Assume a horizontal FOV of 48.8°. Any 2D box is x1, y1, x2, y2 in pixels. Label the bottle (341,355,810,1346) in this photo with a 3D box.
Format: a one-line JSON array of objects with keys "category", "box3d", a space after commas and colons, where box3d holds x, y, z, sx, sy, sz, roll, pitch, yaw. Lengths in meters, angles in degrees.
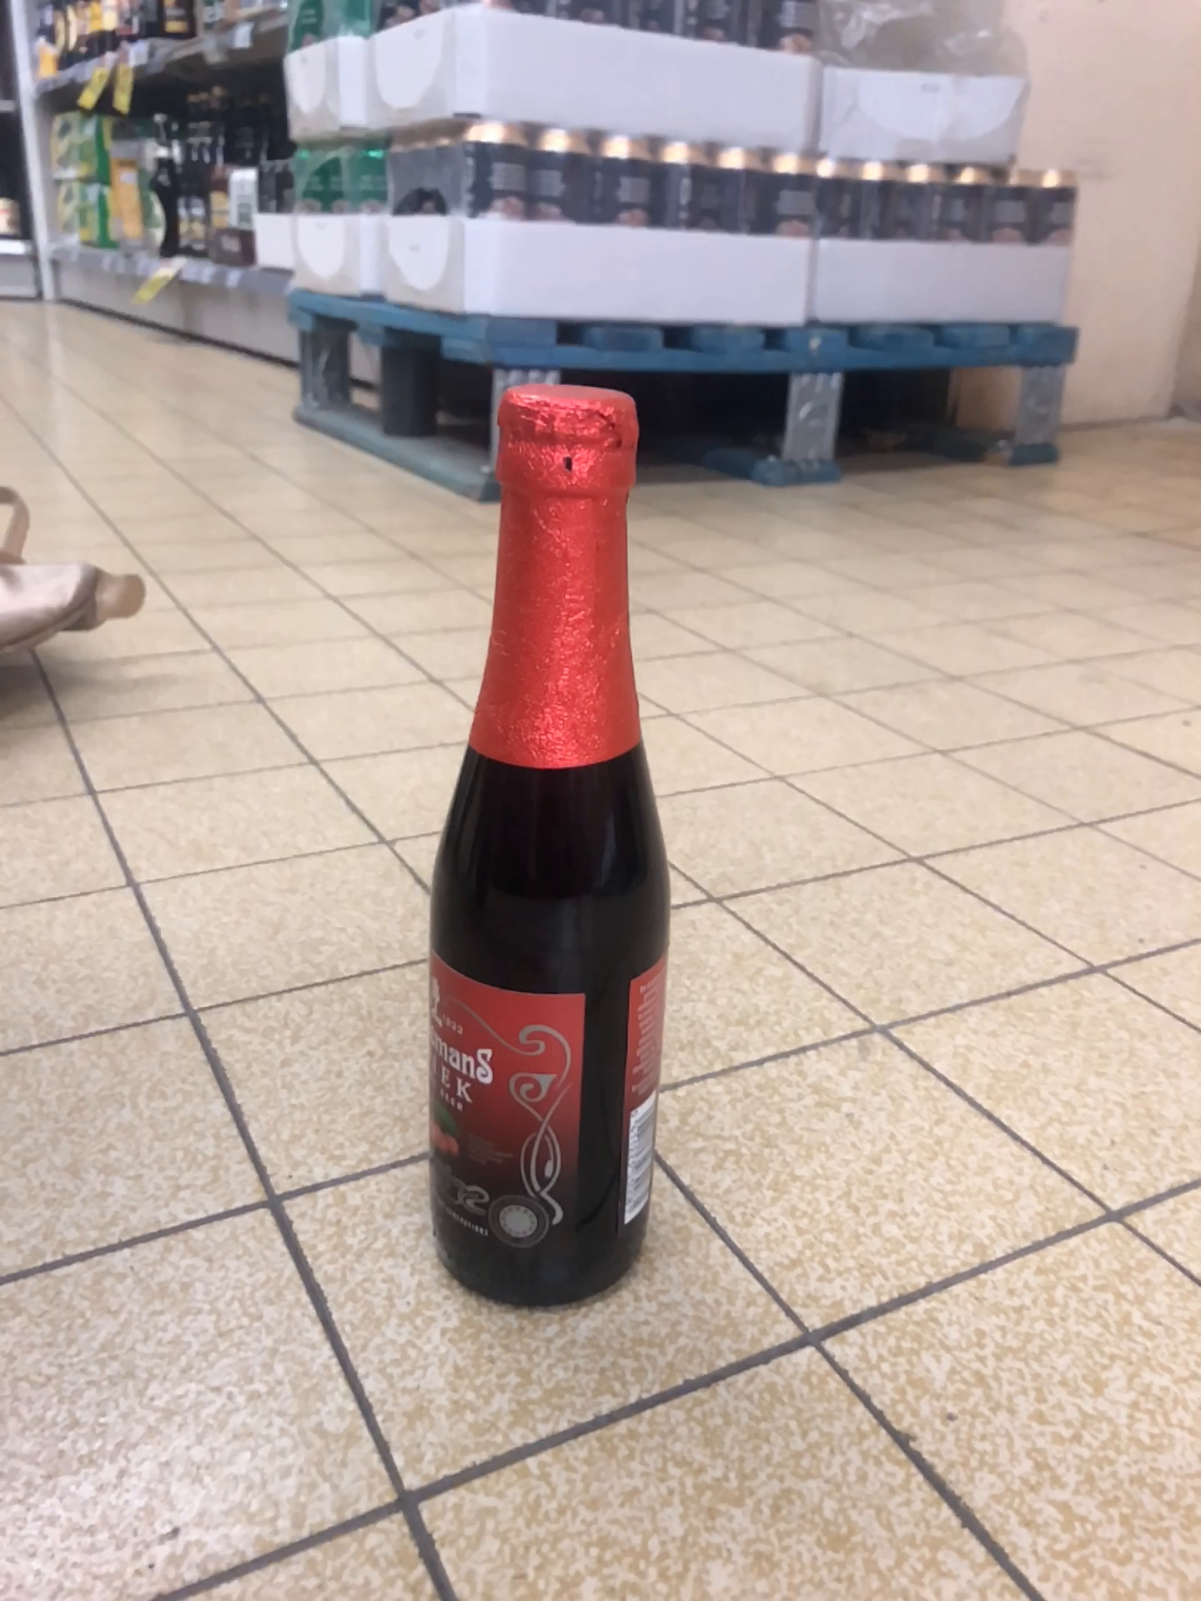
[{"category": "bottle", "box3d": [-0.012, 0.009, 0.294, 0.070, 0.199, 0.070, 3, 22, -1]}]
